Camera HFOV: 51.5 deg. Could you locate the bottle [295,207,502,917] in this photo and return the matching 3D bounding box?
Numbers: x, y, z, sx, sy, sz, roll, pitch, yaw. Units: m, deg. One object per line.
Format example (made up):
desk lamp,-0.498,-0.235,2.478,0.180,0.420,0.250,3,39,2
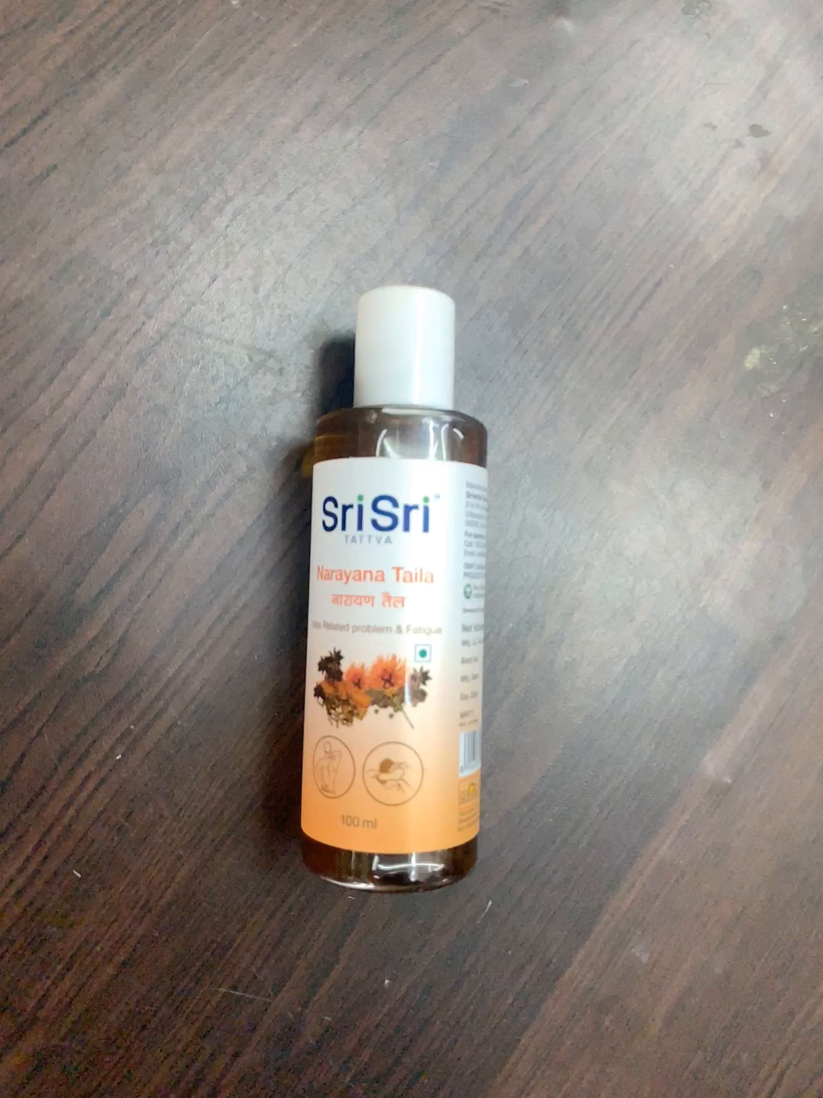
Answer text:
bottle,-0.002,0.002,0.188,0.040,0.040,0.140,0,89,1
